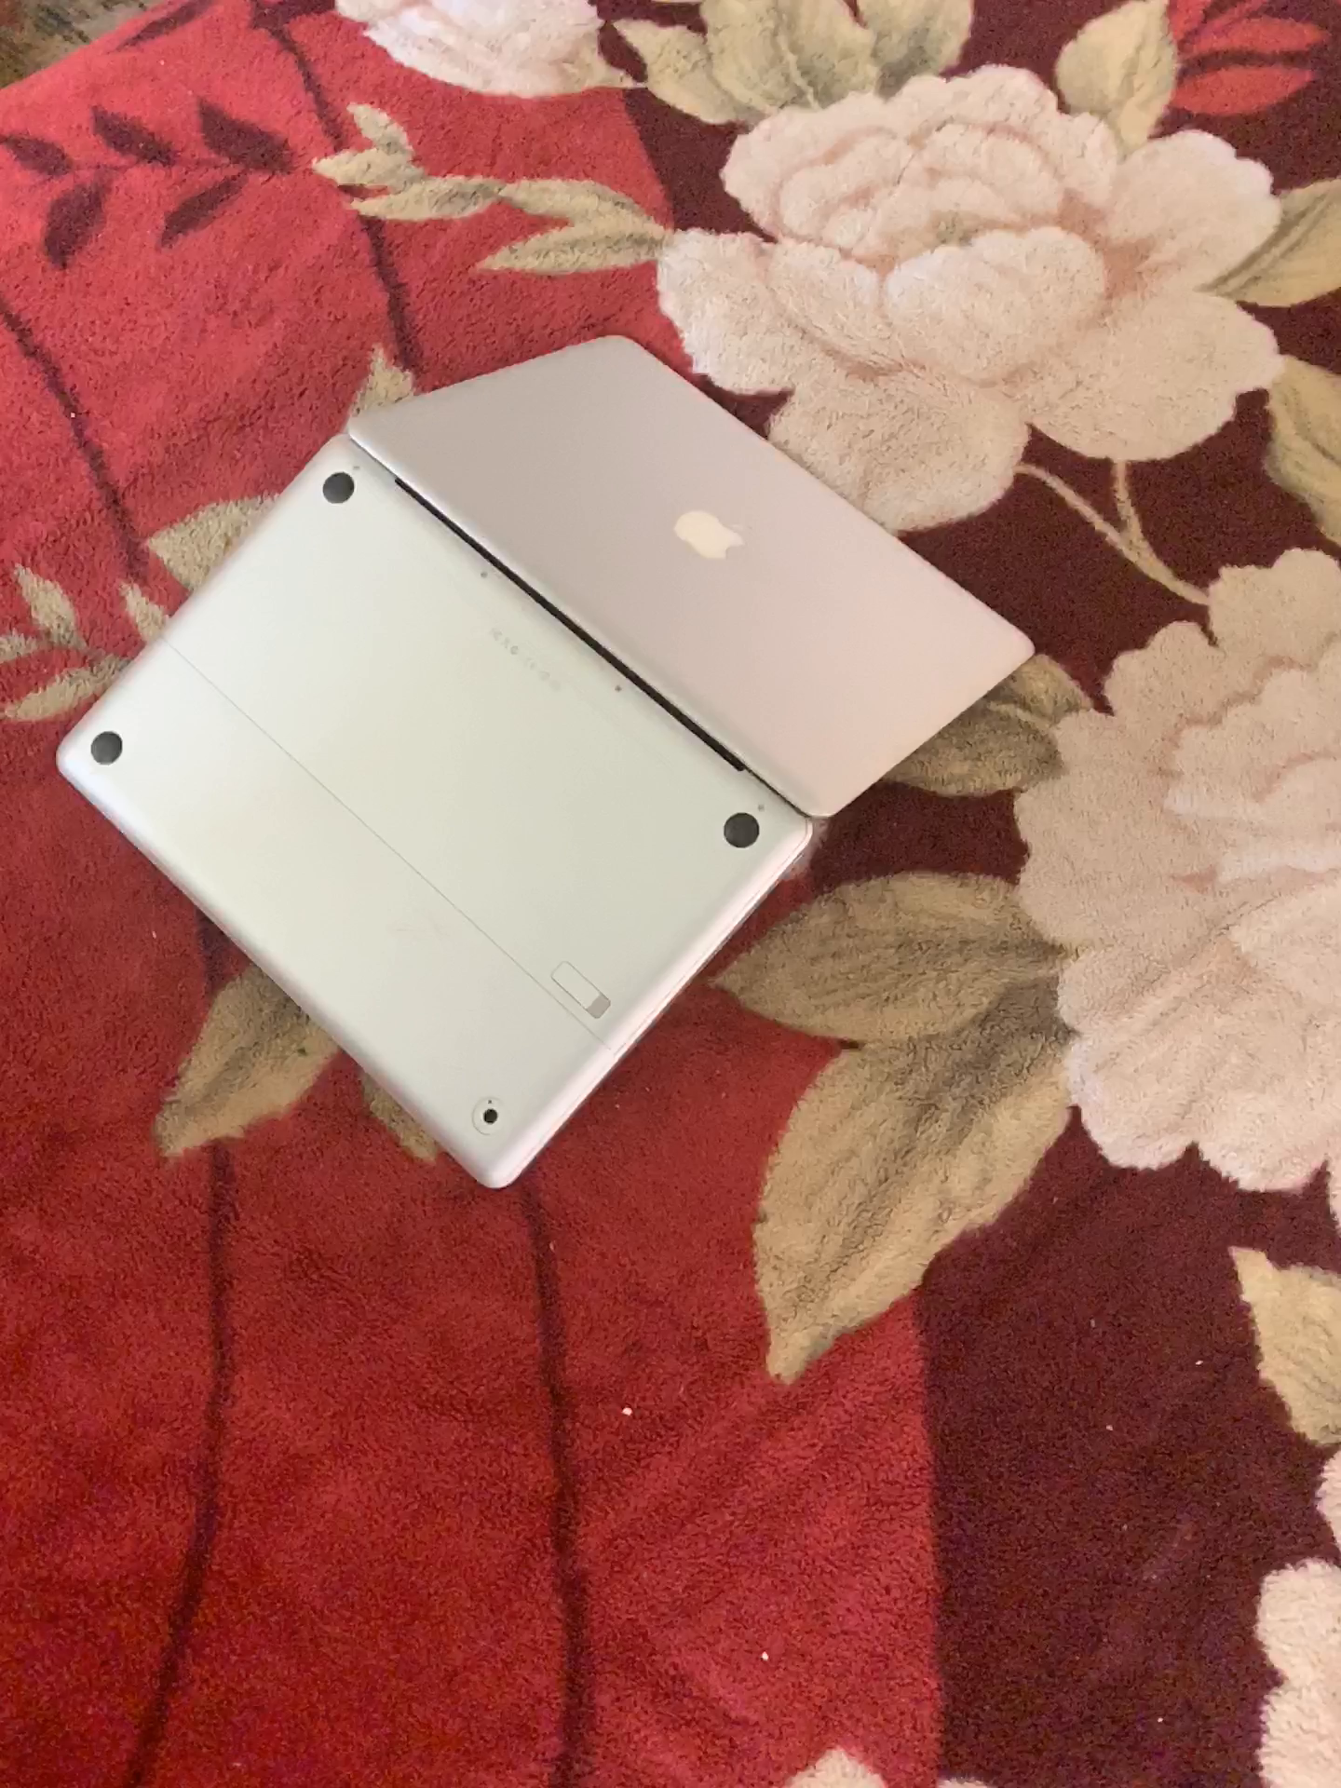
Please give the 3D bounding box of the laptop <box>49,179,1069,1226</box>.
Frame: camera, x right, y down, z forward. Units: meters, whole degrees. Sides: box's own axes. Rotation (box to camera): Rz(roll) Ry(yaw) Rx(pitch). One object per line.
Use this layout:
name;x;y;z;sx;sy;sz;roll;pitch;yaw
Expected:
laptop;-0.067;-0.097;0.688;0.316;0.078;0.390;41;88;14
